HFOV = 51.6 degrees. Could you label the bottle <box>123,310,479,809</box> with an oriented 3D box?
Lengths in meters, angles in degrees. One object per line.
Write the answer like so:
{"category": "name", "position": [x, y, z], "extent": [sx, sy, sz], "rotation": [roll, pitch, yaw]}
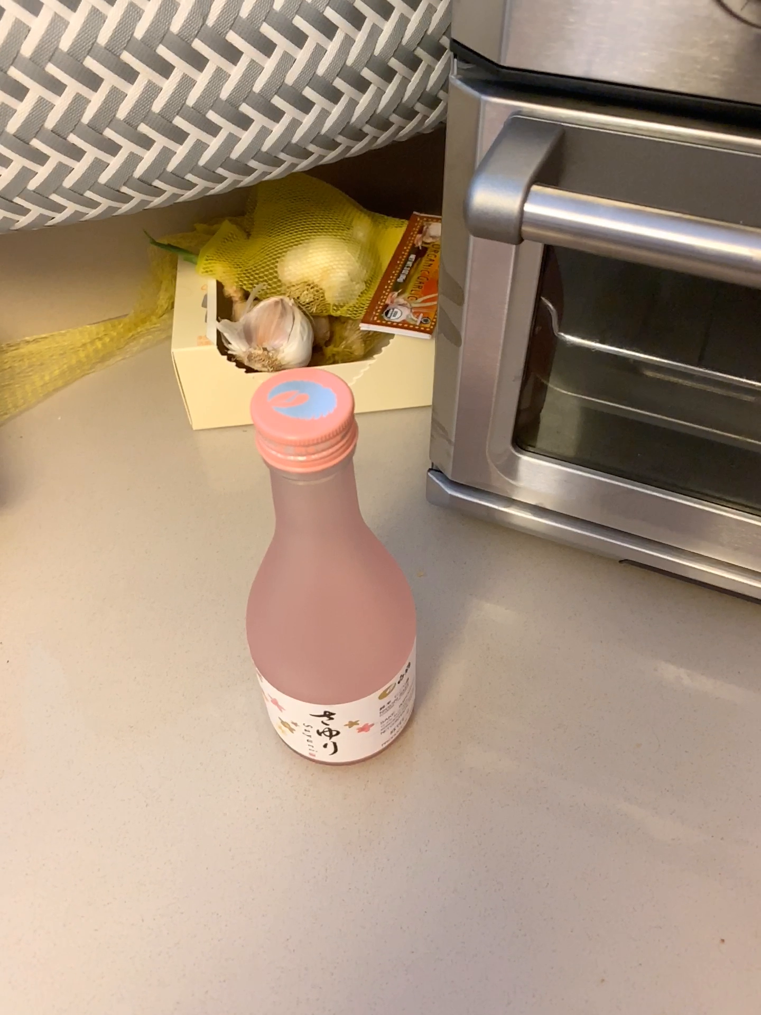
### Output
{"category": "bottle", "position": [-0.018, 0.029, 0.280], "extent": [0.070, 0.169, 0.070], "rotation": [-1, 50, 1]}
